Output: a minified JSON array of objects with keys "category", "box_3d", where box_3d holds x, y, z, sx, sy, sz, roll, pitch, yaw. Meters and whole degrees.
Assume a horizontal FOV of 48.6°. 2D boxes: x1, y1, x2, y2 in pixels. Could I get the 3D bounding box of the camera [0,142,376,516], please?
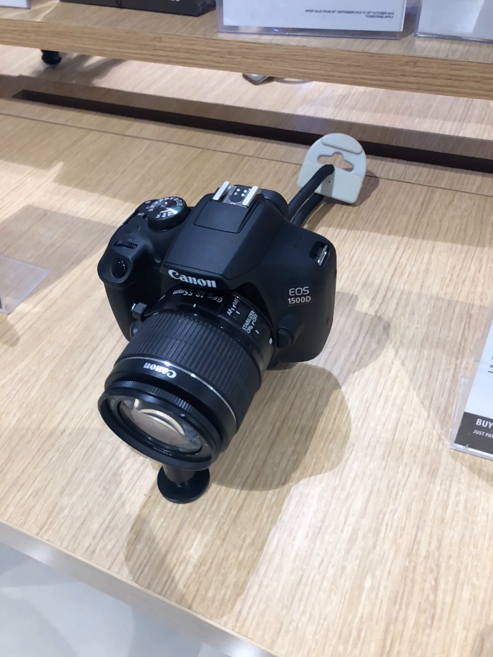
[{"category":"camera","box_3d":[-0.021,-0.011,0.279,0.130,0.089,0.141,16,51,20]}]
